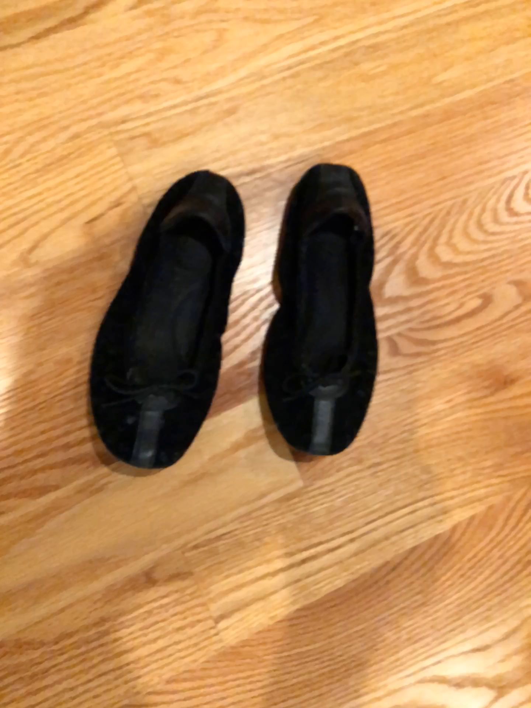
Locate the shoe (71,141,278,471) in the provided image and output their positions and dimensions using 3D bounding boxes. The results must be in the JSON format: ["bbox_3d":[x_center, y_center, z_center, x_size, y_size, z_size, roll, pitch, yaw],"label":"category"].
[{"bbox_3d":[-0.065,-0.034,0.445,0.100,0.050,0.220,13,83,-8],"label":"shoe"}]

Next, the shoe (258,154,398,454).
[{"bbox_3d":[0.048,-0.036,0.465,0.093,0.046,0.220,4,84,-9],"label":"shoe"}]
